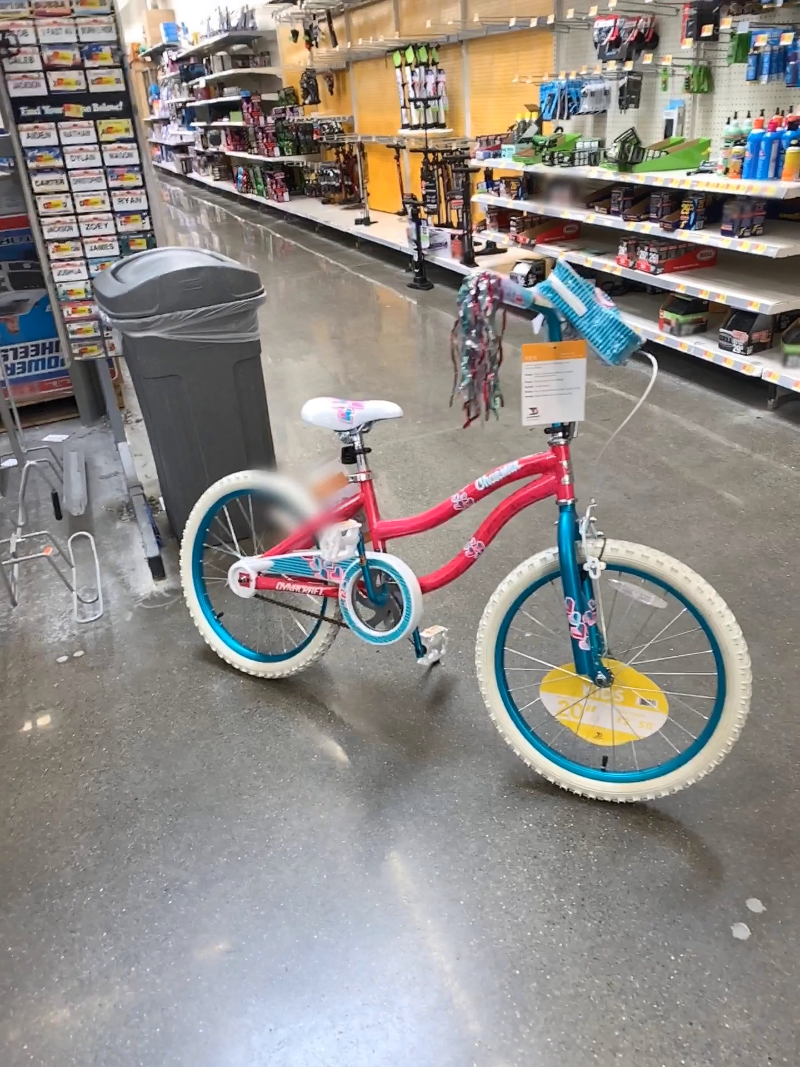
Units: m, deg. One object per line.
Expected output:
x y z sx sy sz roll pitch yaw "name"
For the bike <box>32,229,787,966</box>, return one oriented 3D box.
0.043 -0.020 1.661 1.261 0.929 0.656 14 32 25 "bike"
